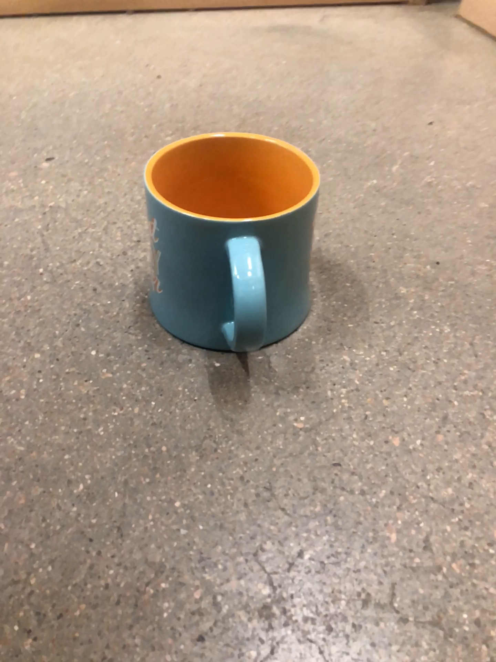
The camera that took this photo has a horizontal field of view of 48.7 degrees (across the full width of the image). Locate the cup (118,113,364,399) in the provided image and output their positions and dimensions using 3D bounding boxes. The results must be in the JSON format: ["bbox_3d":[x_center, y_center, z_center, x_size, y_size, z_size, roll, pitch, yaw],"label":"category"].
[{"bbox_3d":[-0.010,-0.050,0.323,0.107,0.097,0.144,-3,45,-5],"label":"cup"}]
